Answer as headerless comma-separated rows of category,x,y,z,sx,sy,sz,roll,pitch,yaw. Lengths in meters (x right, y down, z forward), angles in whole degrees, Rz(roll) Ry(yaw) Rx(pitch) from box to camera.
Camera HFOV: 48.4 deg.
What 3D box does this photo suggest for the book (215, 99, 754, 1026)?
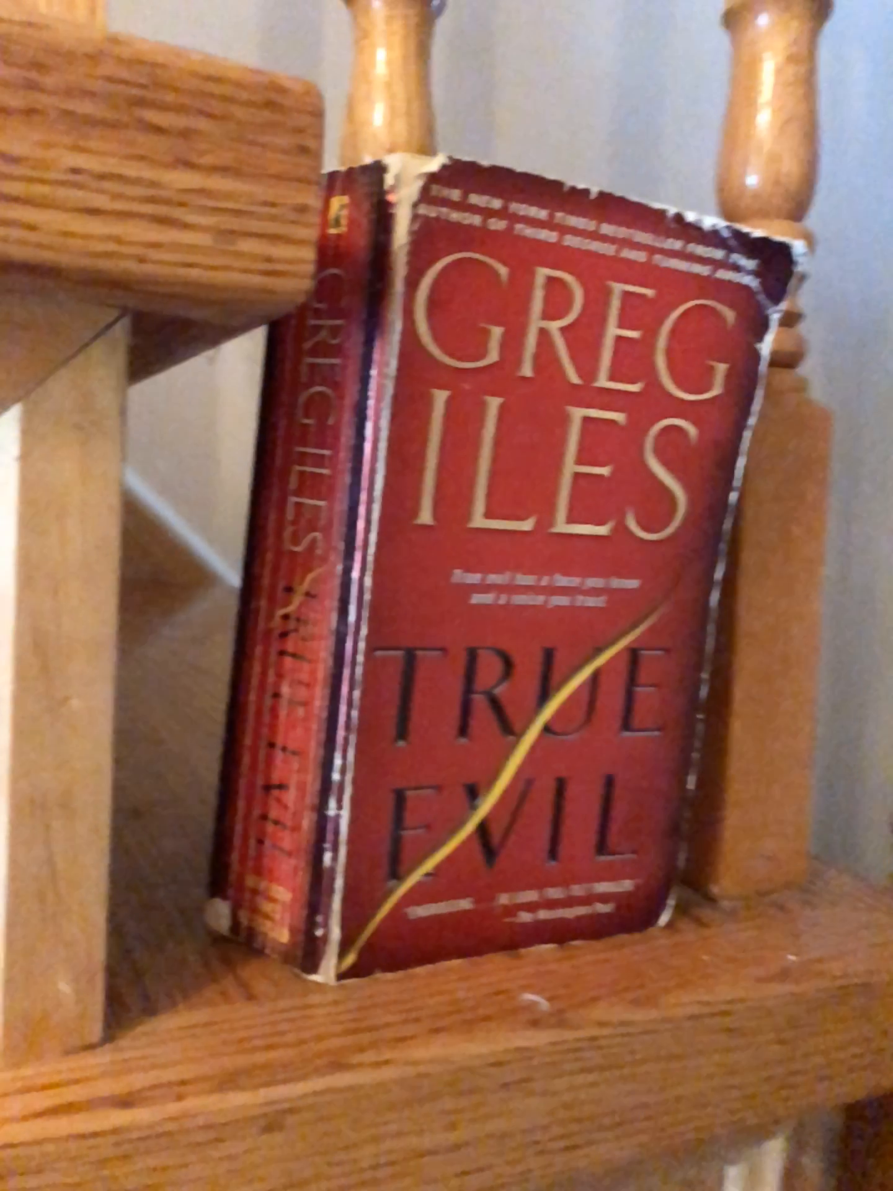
book,0.007,-0.007,0.276,0.120,0.205,0.068,1,6,-26
